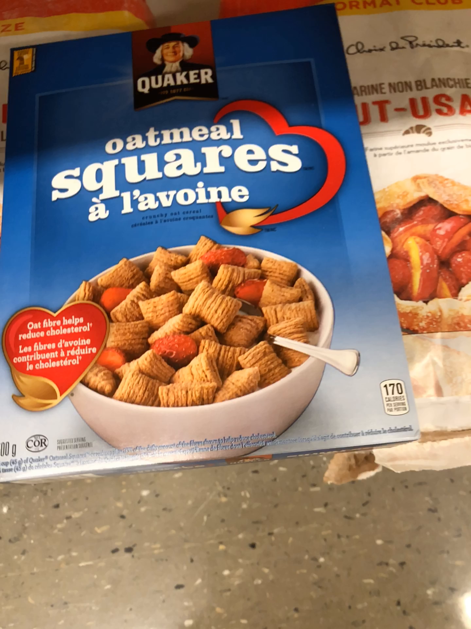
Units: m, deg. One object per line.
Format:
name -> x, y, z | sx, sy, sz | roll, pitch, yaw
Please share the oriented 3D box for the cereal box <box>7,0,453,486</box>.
cereal box -> -0.015, -0.053, 0.321 | 0.210, 0.060, 0.280 | -6, 71, 2
